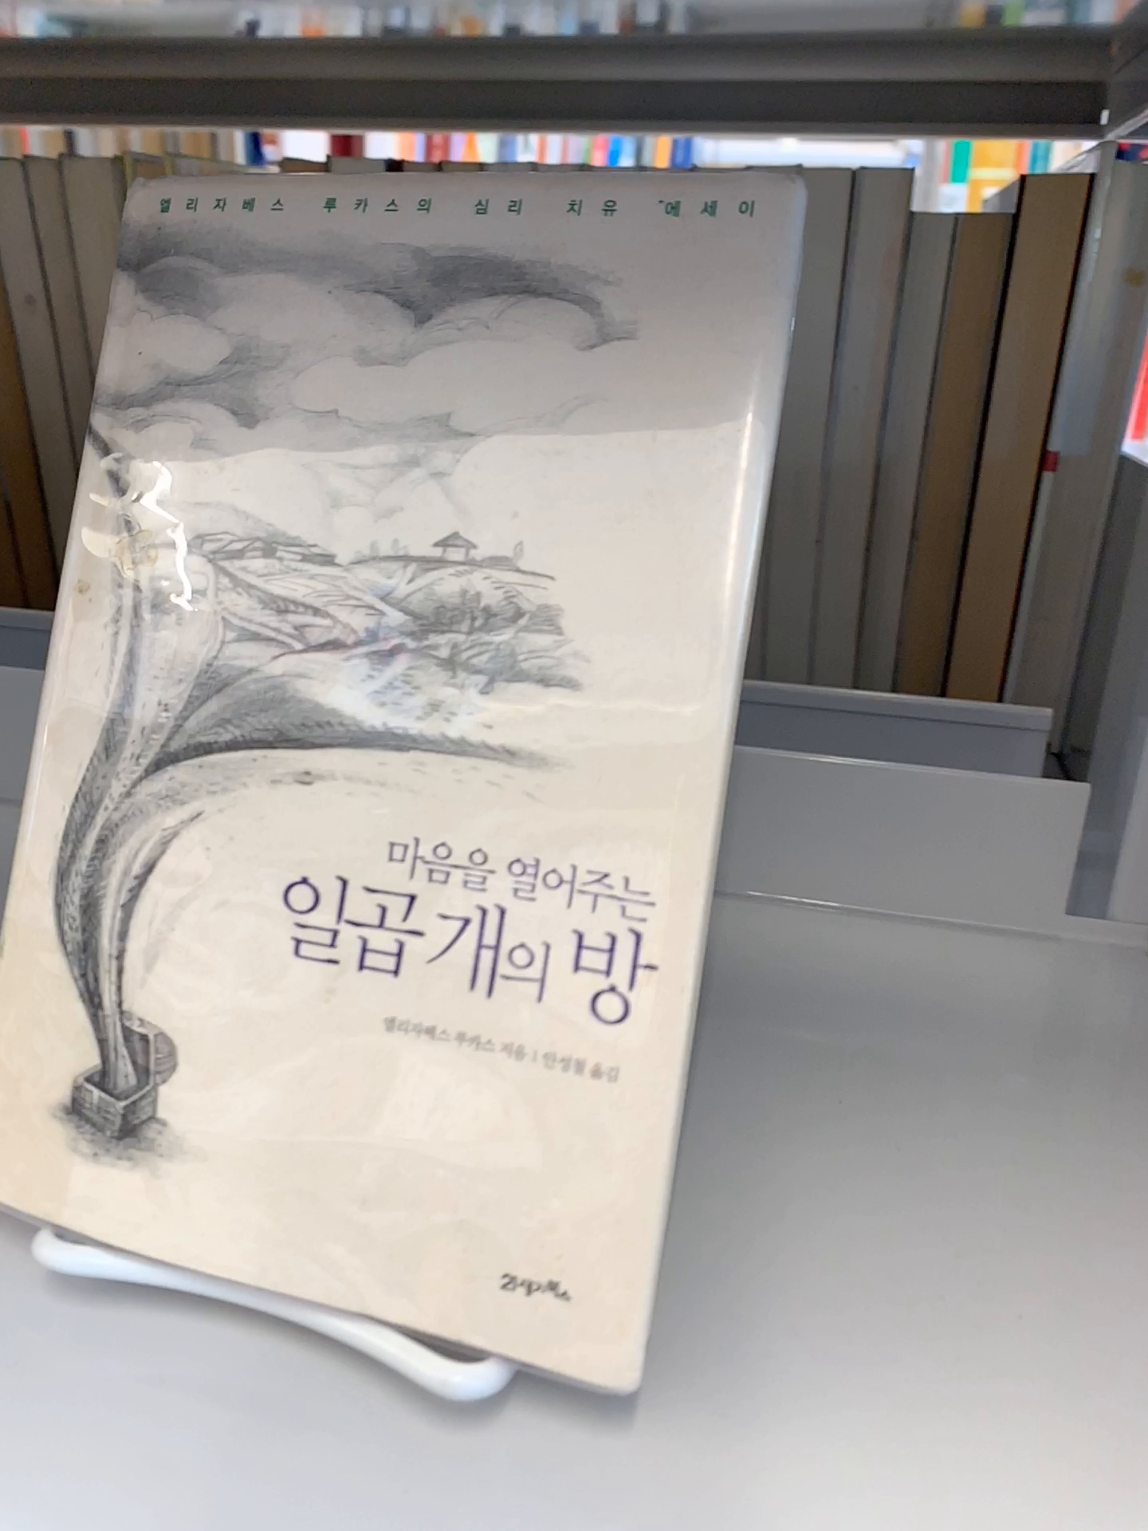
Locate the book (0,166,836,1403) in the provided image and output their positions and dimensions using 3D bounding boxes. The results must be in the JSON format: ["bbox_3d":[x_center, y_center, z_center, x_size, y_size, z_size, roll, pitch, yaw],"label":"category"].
[{"bbox_3d":[-0.038,-0.007,0.212,0.137,0.192,0.019,9,0,17],"label":"book"}]
